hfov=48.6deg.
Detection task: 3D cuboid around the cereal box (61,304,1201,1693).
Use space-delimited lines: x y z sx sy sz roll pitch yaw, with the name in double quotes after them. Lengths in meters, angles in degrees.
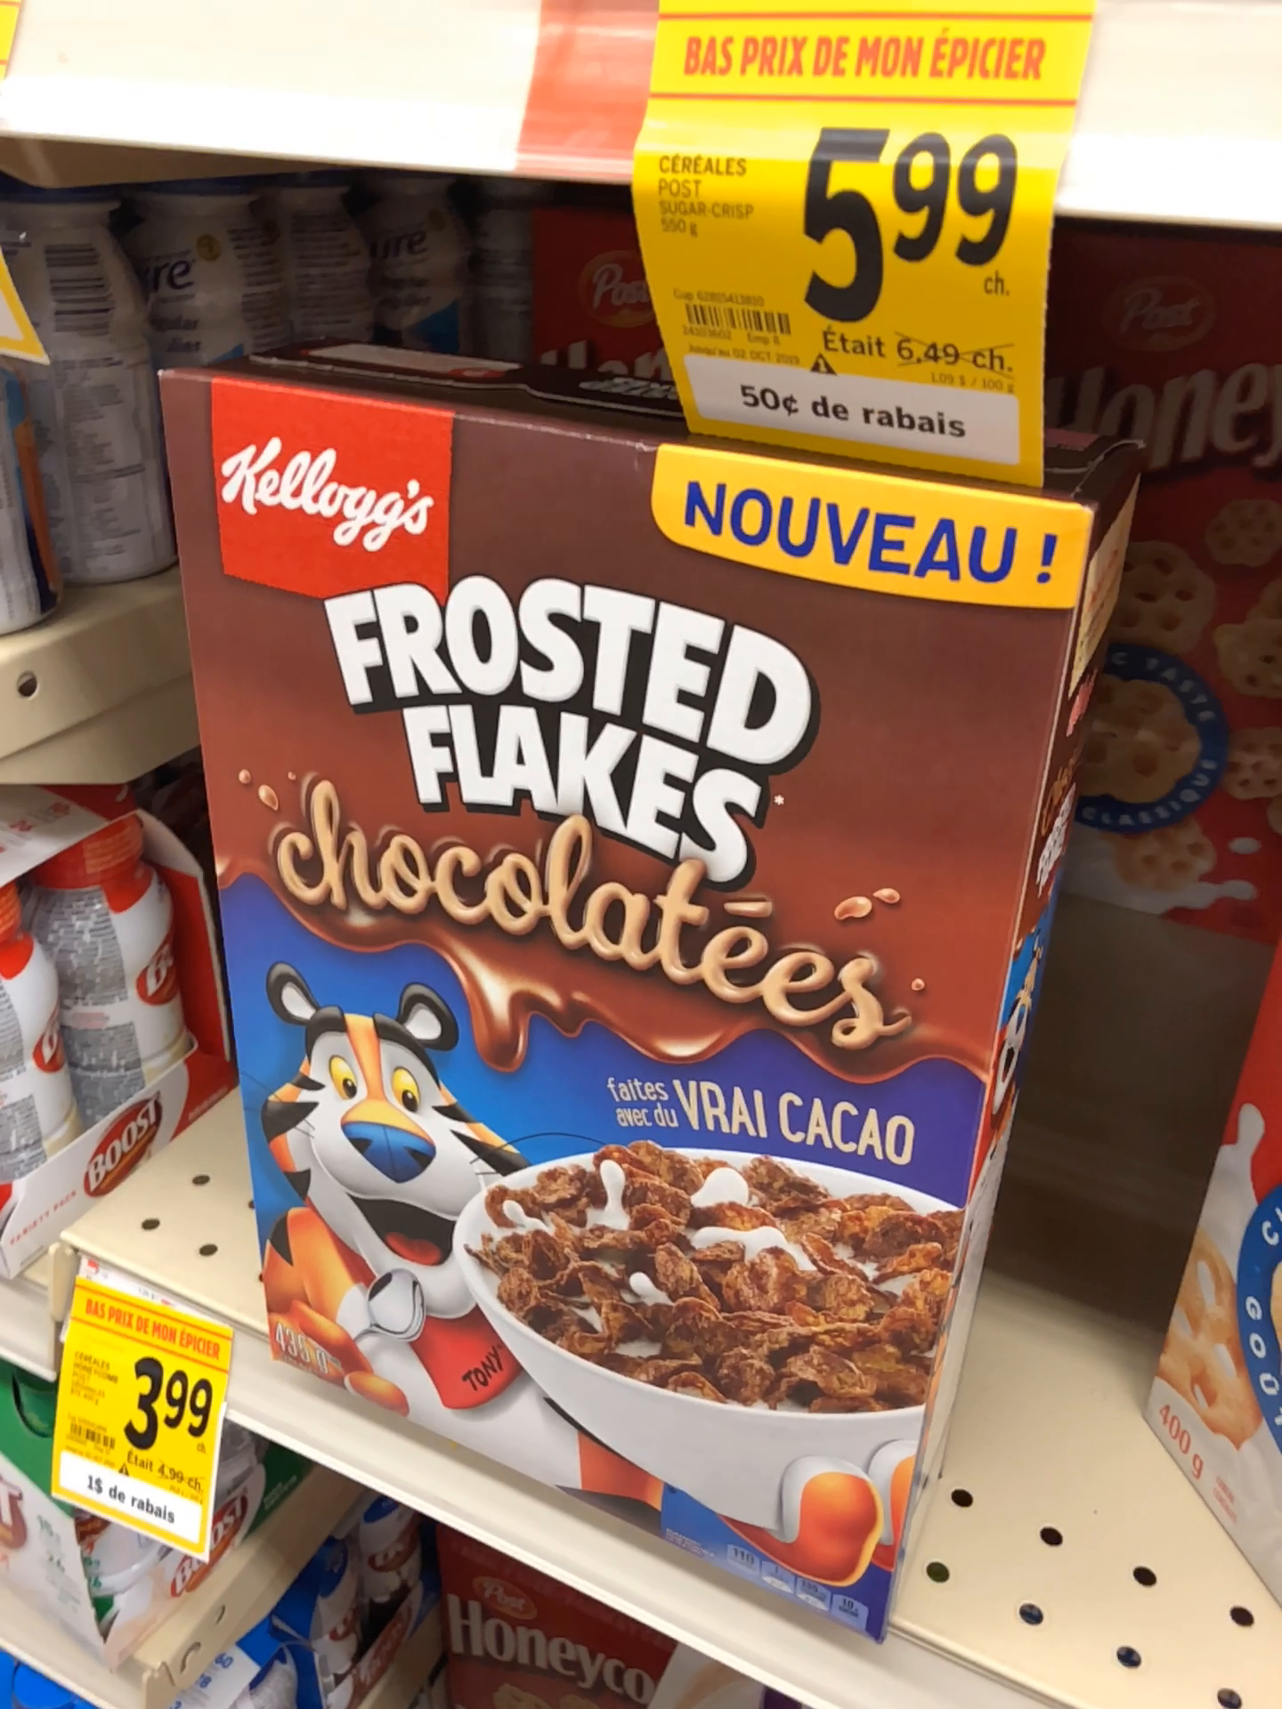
-0.013 0.032 0.336 0.210 0.278 0.070 16 30 23 "cereal box"
